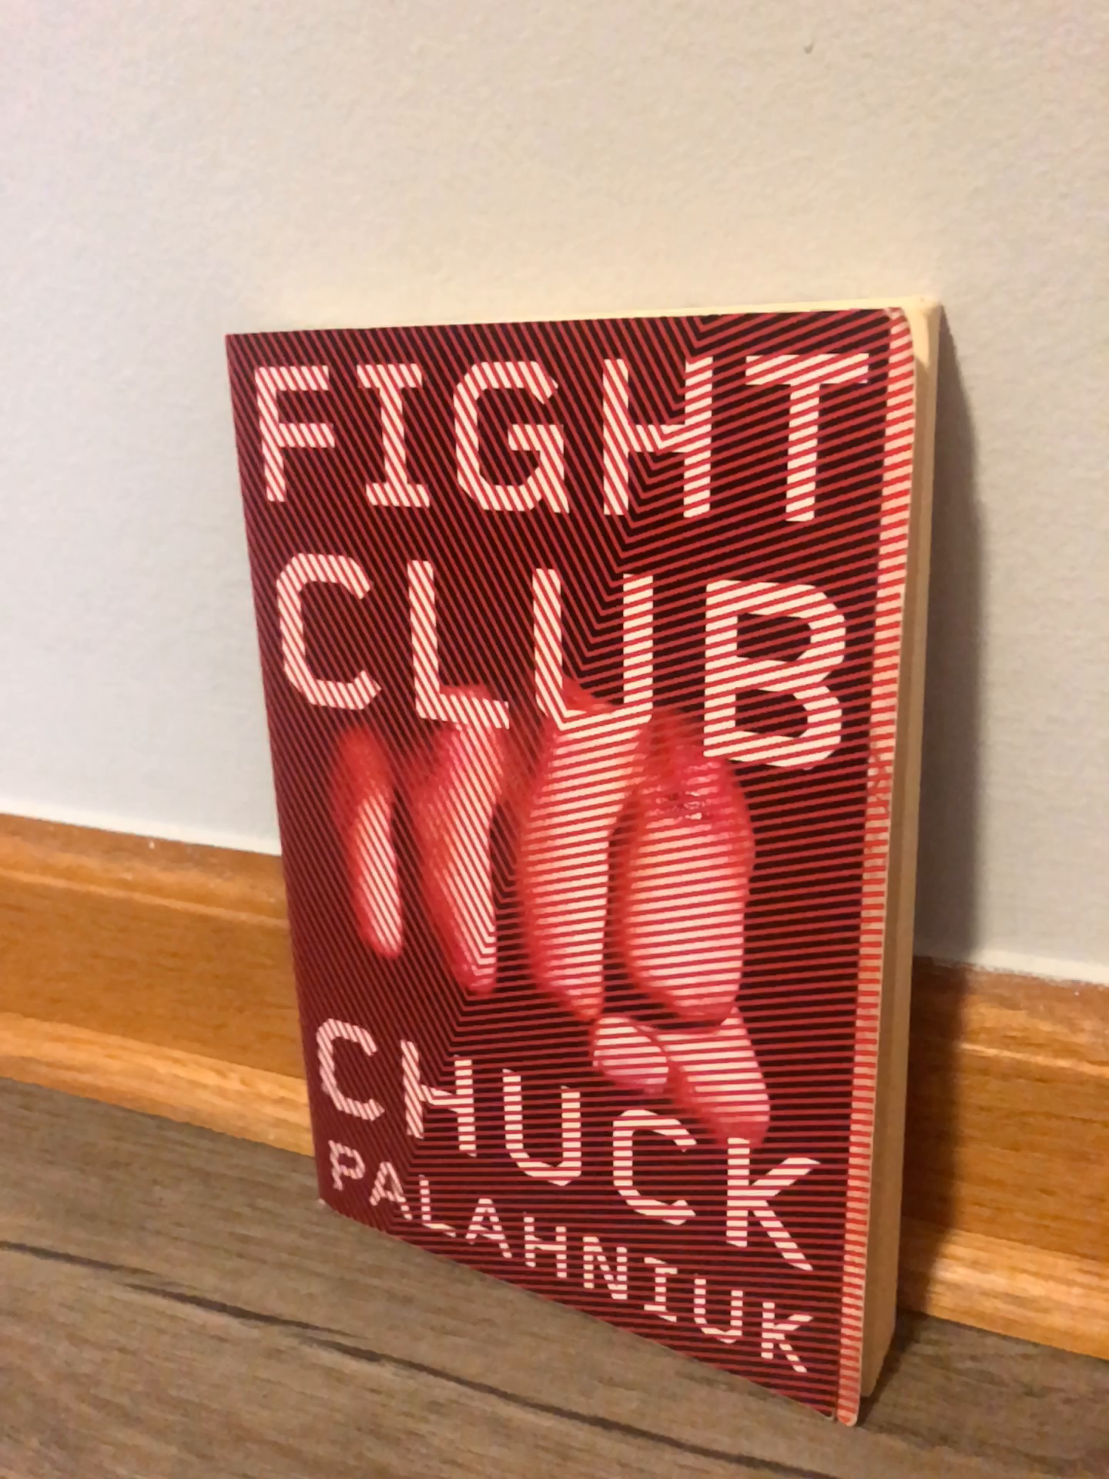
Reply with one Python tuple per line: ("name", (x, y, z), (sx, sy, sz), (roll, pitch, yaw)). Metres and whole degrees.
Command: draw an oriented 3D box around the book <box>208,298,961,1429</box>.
("book", (0.003, 0.022, 0.257), (0.138, 0.210, 0.030), (8, 20, 28))
